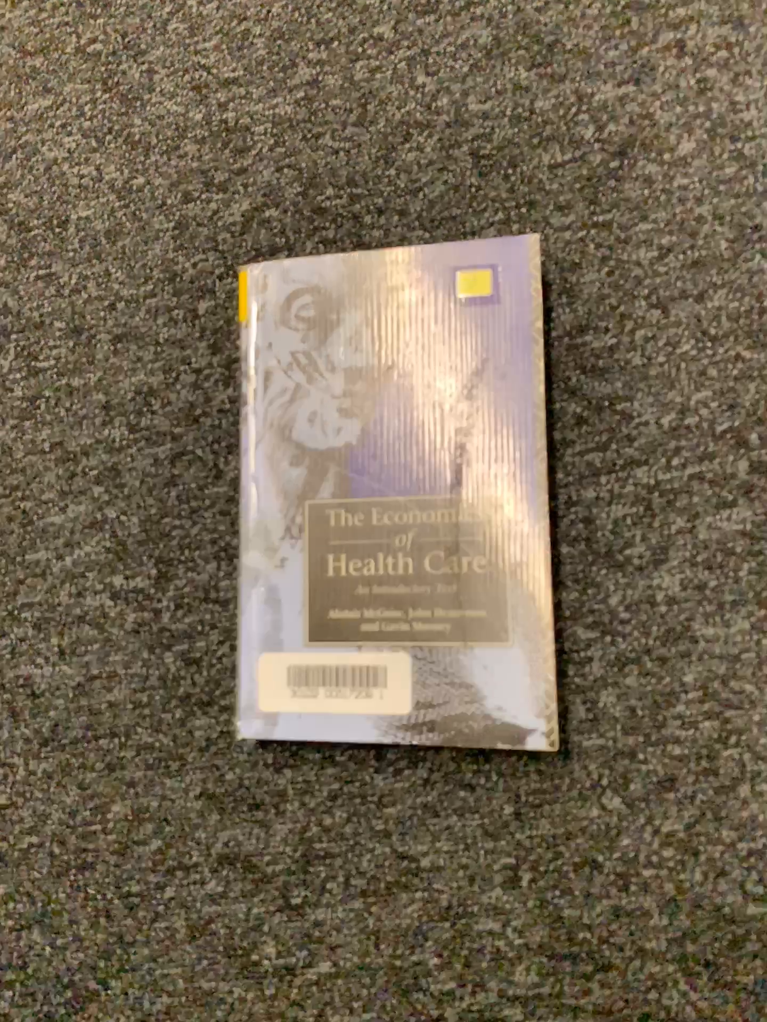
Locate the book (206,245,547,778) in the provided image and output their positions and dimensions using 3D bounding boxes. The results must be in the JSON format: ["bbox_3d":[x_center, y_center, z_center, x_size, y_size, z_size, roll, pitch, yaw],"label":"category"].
[{"bbox_3d":[-0.003,-0.001,0.328,0.135,0.030,0.207,-2,83,12],"label":"book"}]
